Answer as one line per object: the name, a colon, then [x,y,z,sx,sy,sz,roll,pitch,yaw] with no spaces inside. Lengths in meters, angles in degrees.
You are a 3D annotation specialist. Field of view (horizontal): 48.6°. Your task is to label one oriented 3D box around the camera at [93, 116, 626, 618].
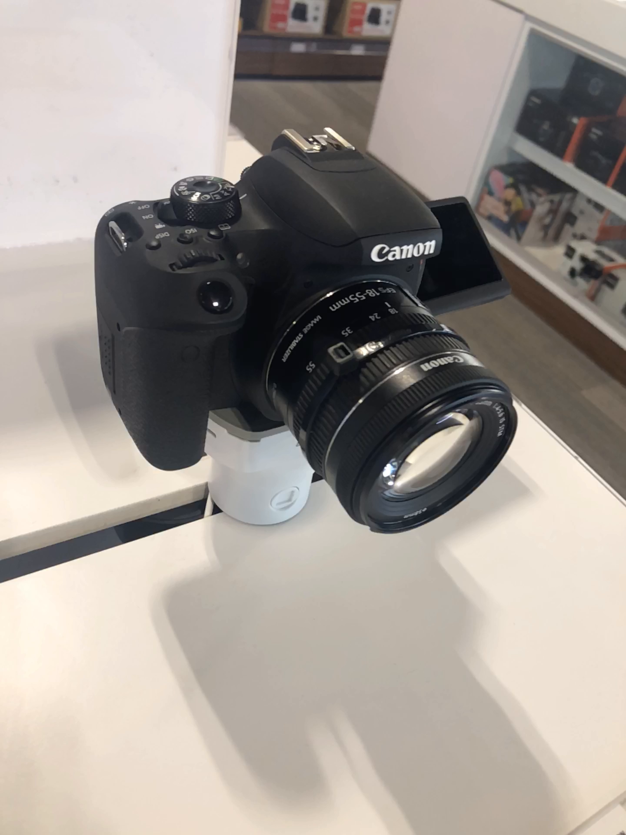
camera: [0.042,-0.038,0.258,0.210,0.099,0.111,-16,49,-30]
